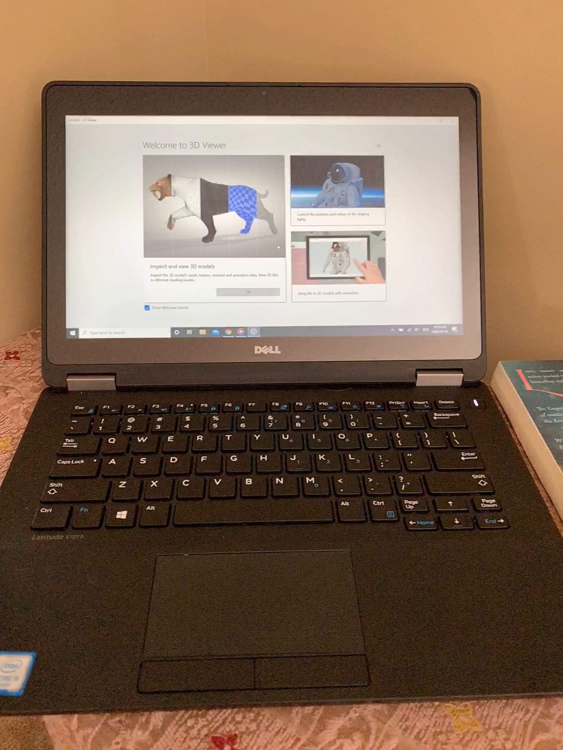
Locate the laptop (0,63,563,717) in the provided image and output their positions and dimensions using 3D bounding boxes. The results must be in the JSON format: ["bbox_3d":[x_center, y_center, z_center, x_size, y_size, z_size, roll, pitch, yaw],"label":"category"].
[{"bbox_3d":[-0.007,-0.051,0.395,0.365,0.186,0.424,-1,41,-2],"label":"laptop"}]
